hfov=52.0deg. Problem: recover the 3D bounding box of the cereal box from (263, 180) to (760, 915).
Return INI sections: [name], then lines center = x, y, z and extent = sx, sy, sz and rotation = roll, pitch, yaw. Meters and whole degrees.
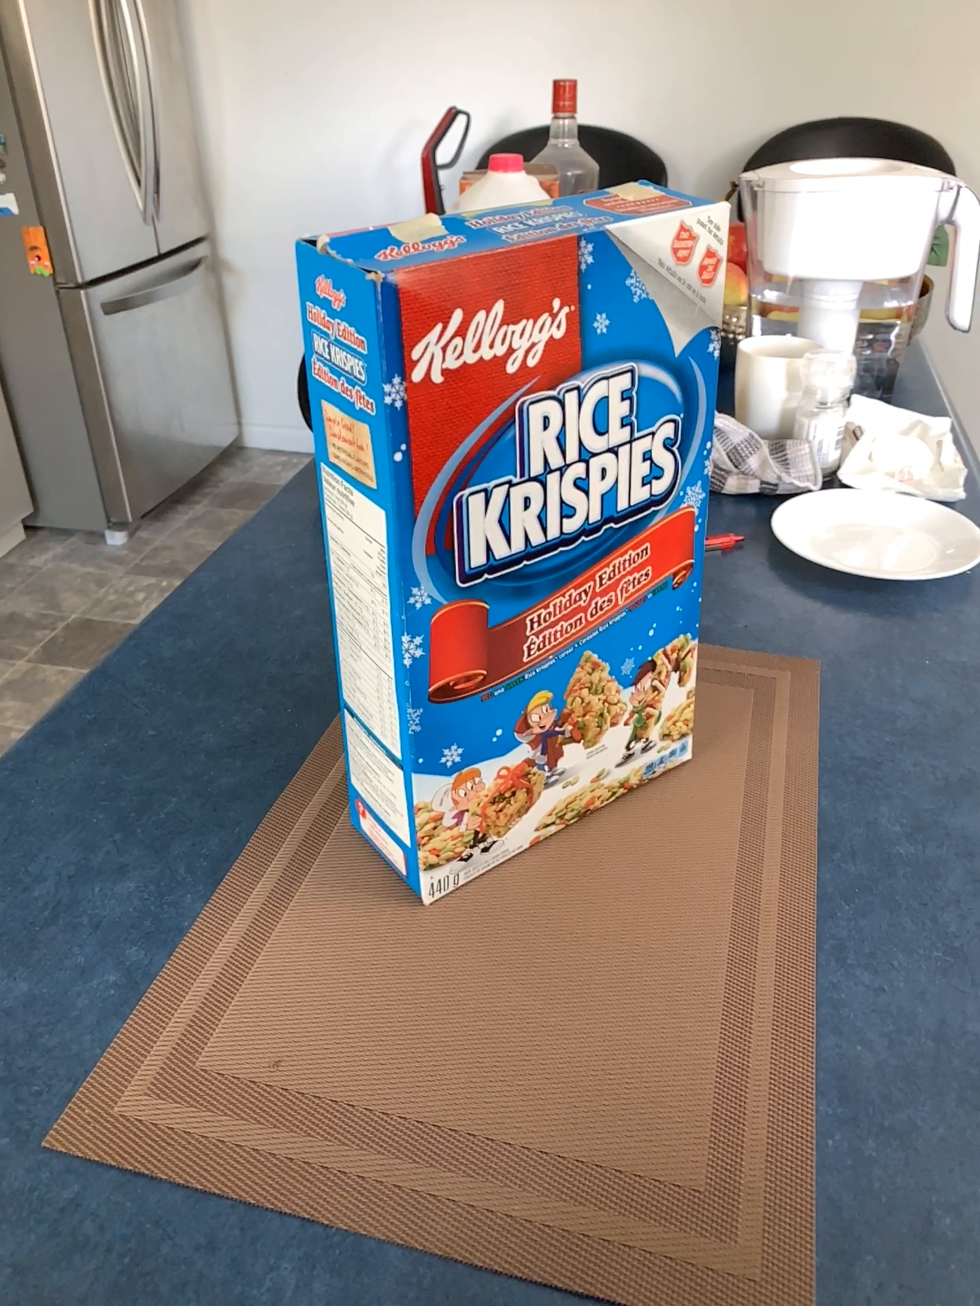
[cereal box]
center = 0.022, -0.057, 0.528
extent = 0.221, 0.327, 0.080
rotation = -22, 35, -31
